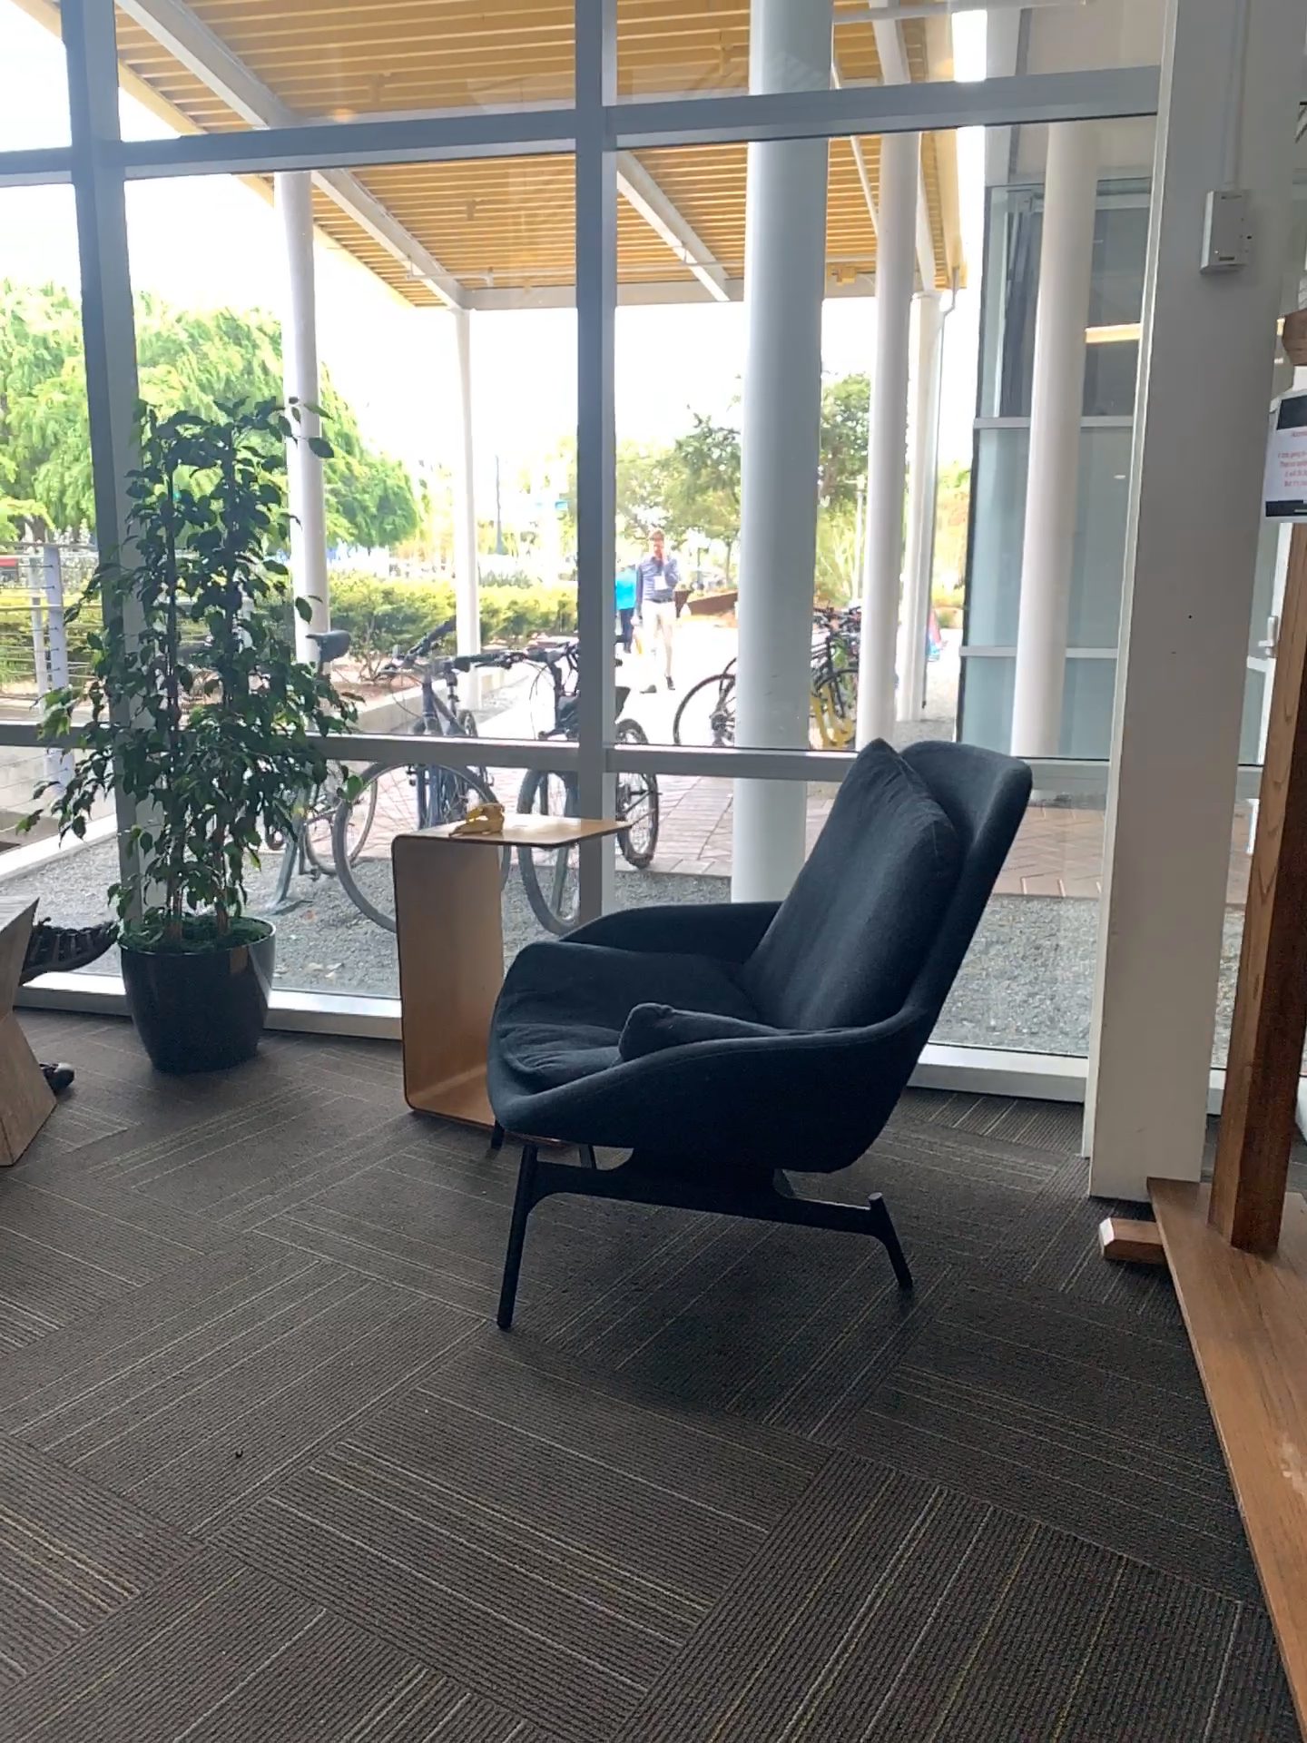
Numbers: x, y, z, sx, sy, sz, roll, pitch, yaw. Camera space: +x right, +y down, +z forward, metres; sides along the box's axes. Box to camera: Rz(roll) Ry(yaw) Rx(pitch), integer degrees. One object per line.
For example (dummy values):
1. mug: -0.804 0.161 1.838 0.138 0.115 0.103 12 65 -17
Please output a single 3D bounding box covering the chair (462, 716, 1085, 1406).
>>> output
1. chair: 0.128 0.251 2.516 0.940 0.997 0.903 -1 12 -8
